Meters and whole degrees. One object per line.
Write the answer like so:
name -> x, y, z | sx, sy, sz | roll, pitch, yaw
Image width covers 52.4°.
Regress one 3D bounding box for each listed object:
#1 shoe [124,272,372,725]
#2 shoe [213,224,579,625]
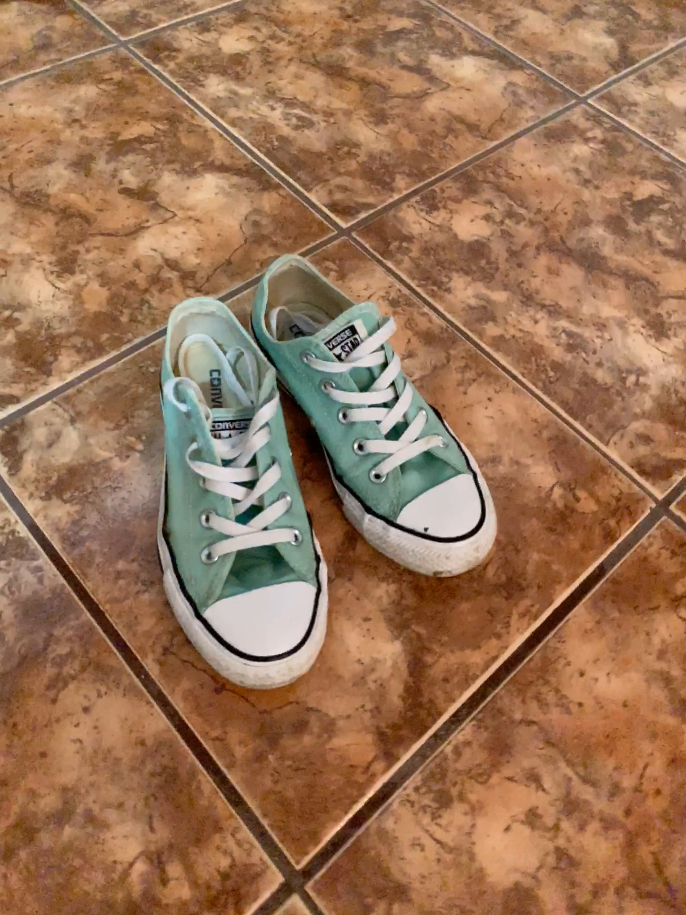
shoe -> -0.065, 0.014, 0.417 | 0.098, 0.094, 0.244 | -8, 59, -11
shoe -> 0.019, -0.030, 0.452 | 0.095, 0.084, 0.244 | -27, 64, -21
